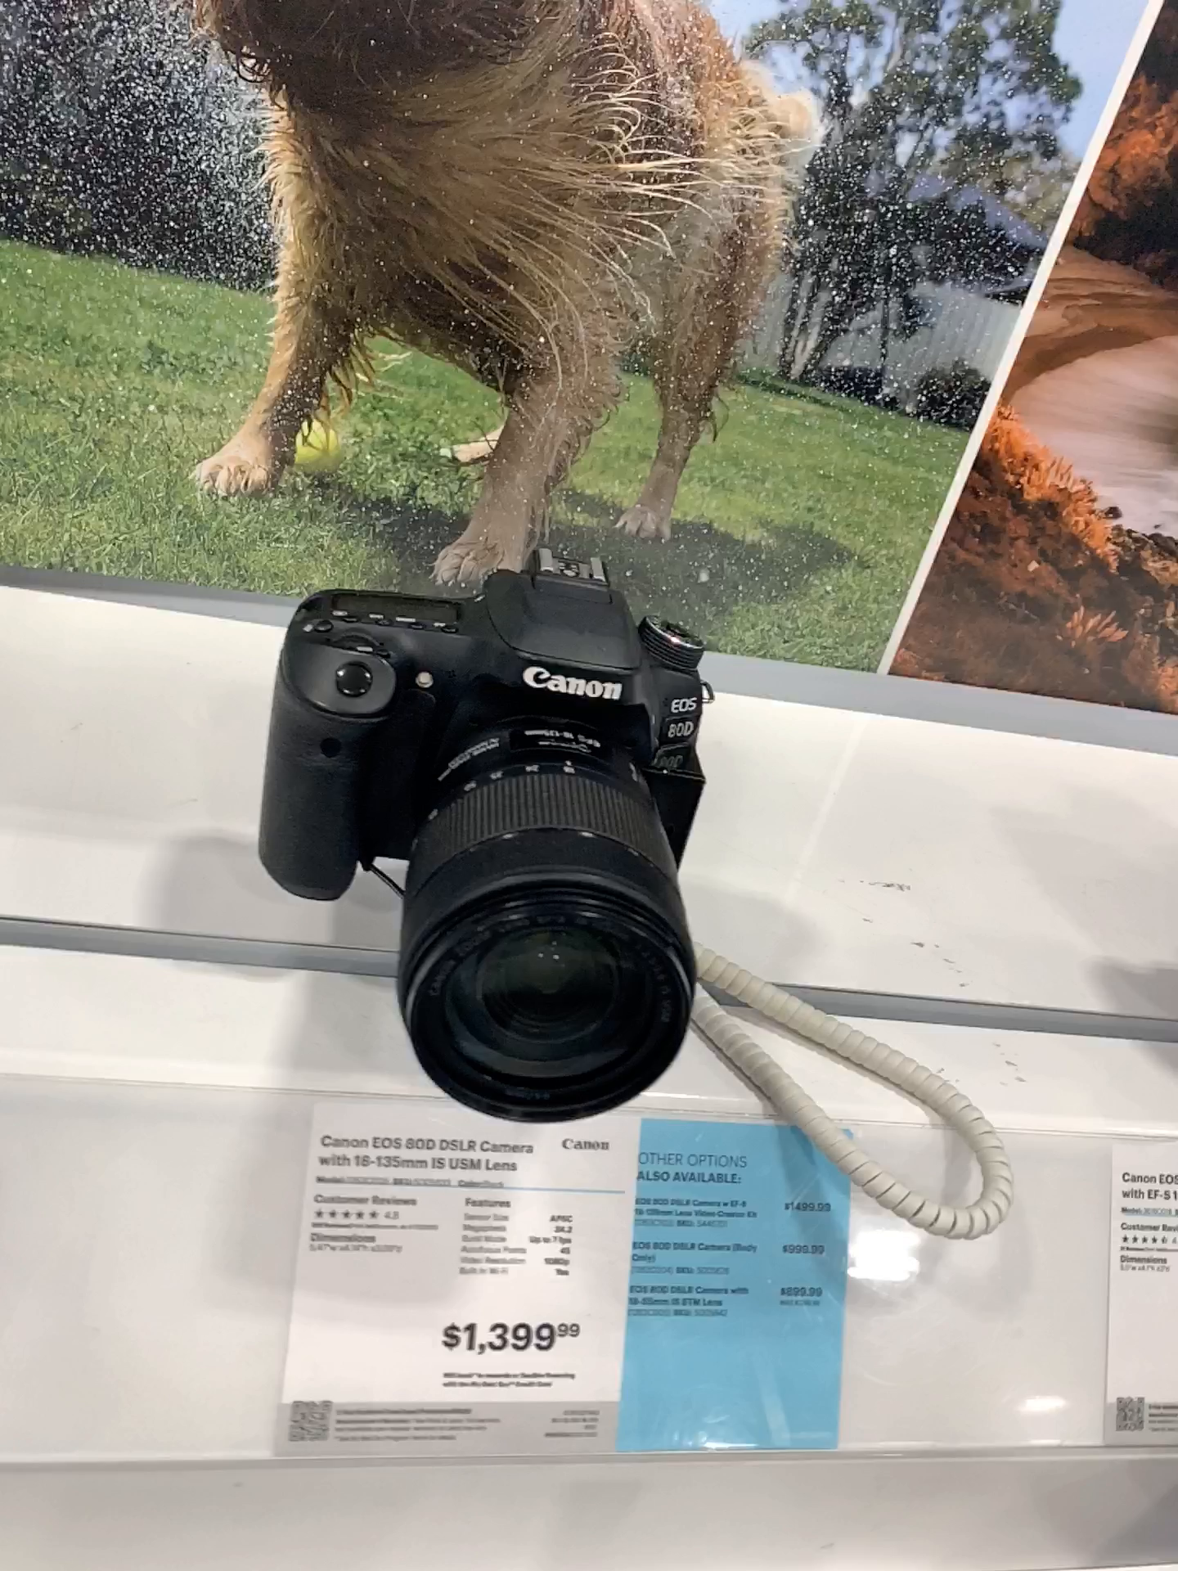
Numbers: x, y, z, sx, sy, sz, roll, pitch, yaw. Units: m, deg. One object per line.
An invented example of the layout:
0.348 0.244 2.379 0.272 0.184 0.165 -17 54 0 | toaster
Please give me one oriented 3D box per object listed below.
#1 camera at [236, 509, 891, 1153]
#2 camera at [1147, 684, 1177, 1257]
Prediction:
-0.019 0.007 0.354 0.140 0.099 0.161 6 33 -13 | camera
0.313 0.057 0.409 0.140 0.099 0.161 6 33 -13 | camera
